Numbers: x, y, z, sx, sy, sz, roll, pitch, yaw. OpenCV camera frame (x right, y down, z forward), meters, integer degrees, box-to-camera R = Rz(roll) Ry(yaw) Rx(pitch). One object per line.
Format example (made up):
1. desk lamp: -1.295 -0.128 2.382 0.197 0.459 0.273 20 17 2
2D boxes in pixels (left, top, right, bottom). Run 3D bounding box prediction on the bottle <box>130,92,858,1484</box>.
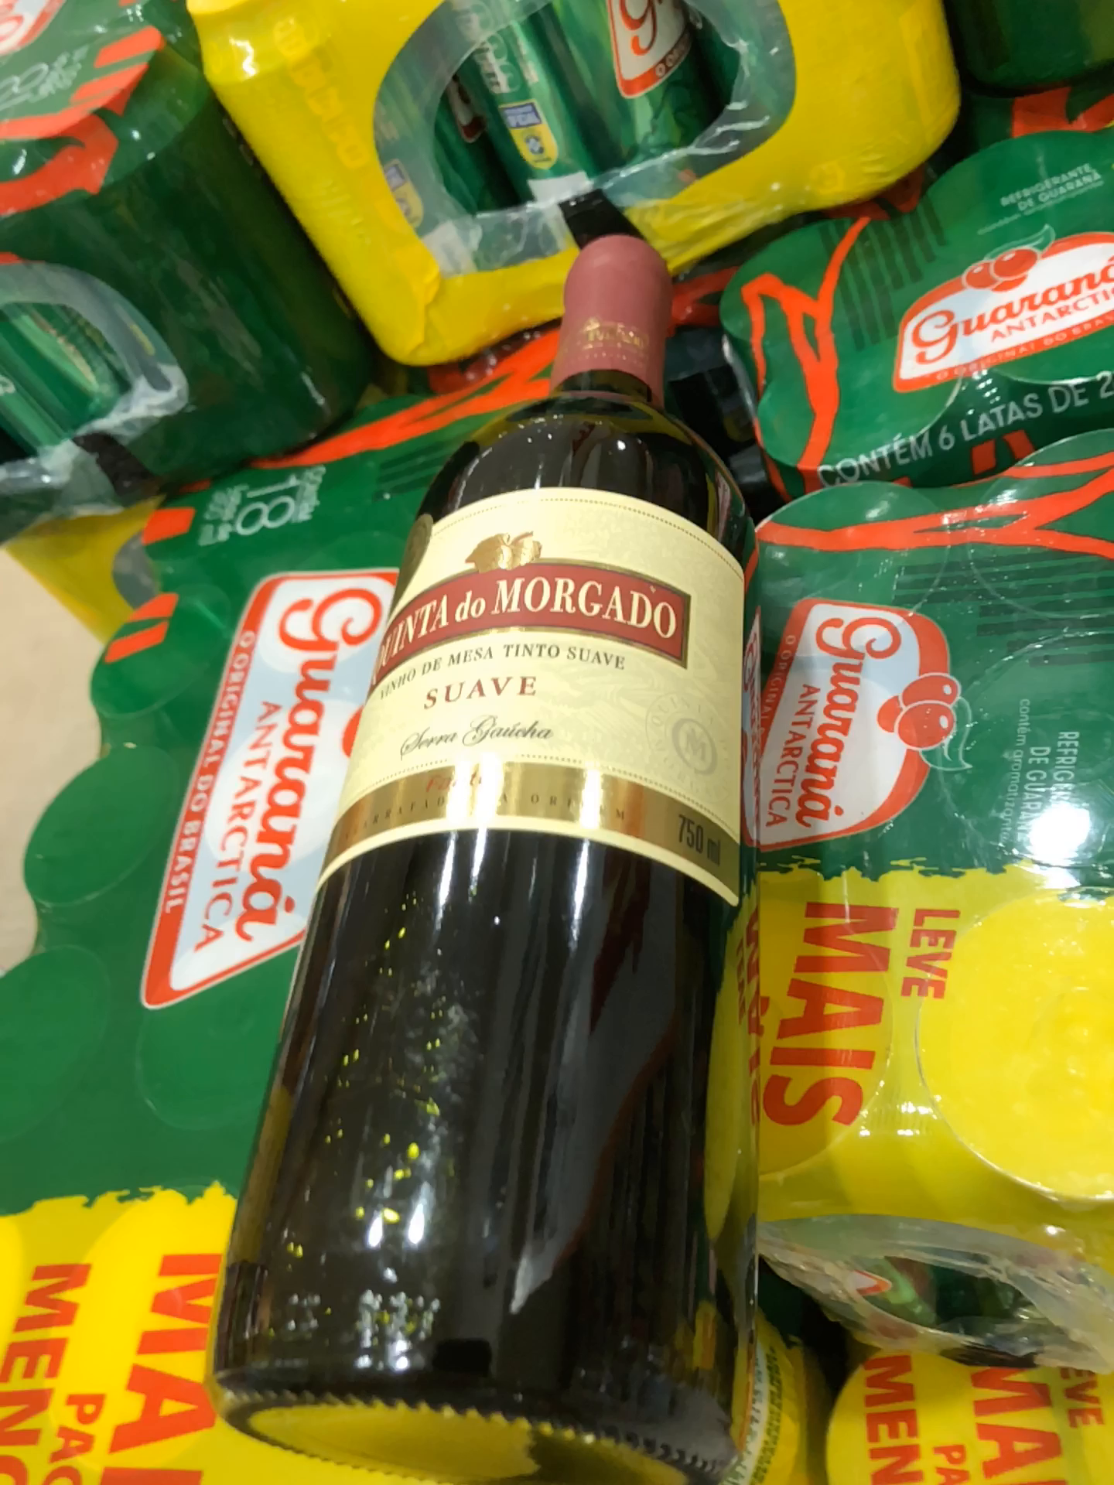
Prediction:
1. bottle: 0.006 -0.016 0.239 0.080 0.070 0.271 -1 55 9
